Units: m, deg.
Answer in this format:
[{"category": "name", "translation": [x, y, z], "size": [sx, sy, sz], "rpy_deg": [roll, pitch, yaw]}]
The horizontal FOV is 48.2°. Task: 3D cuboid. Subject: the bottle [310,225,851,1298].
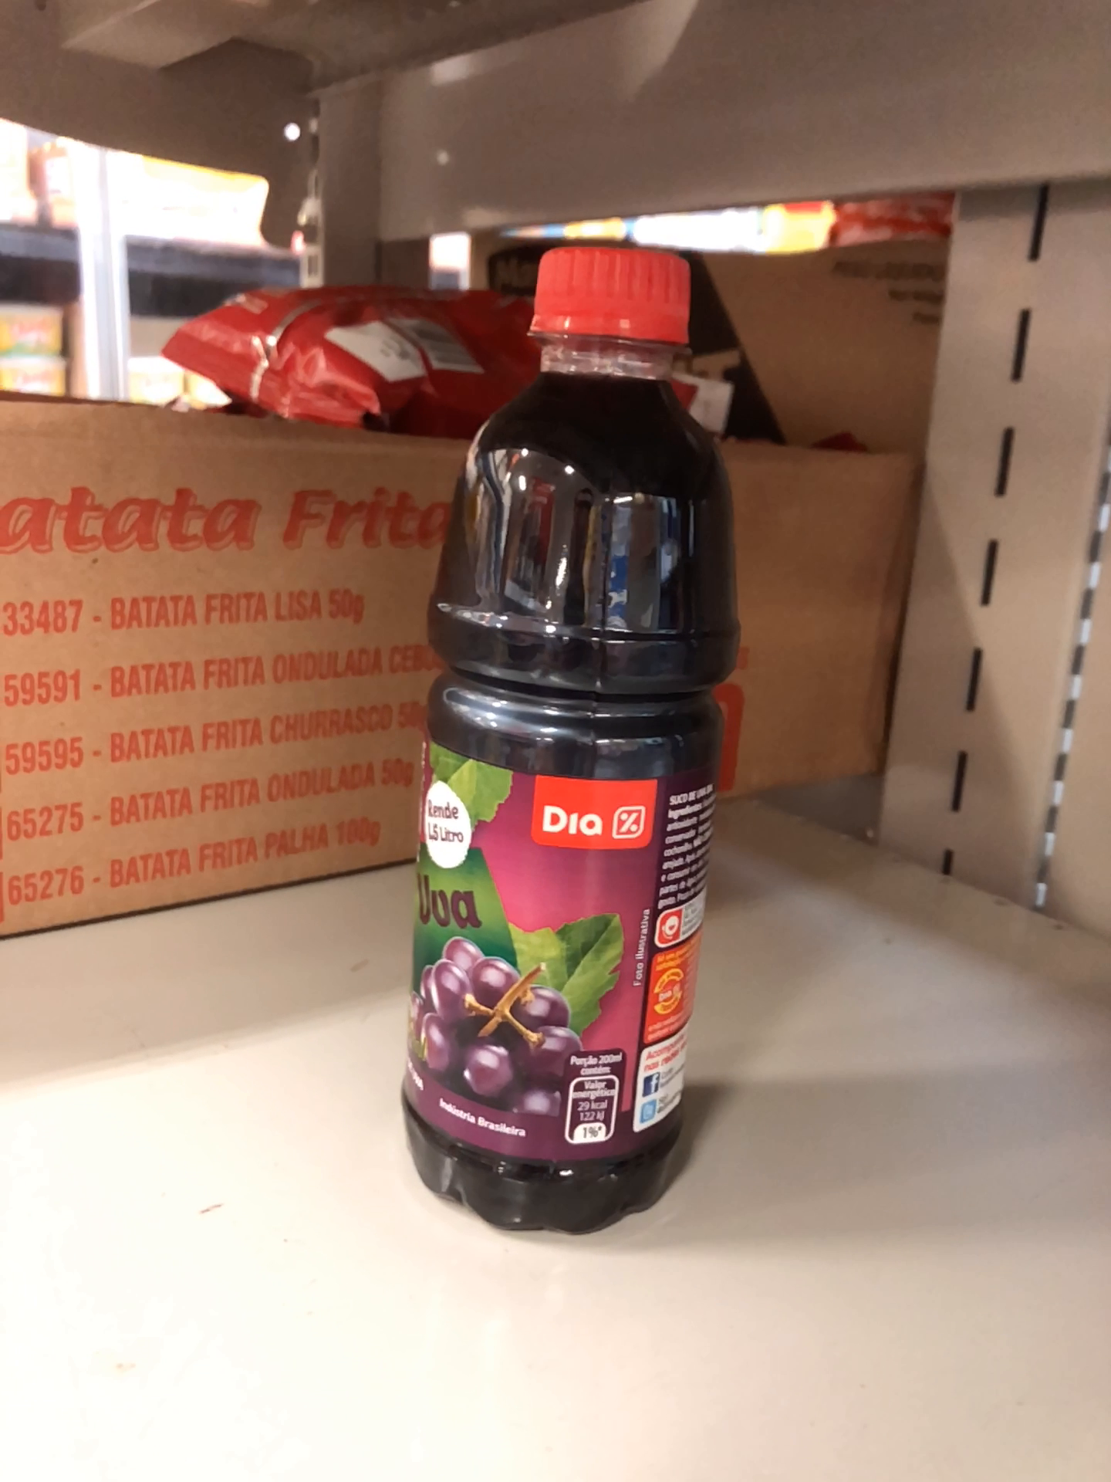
[{"category": "bottle", "translation": [0.002, 0.000, 0.271], "size": [0.080, 0.199, 0.070], "rpy_deg": [14, 20, 37]}]
